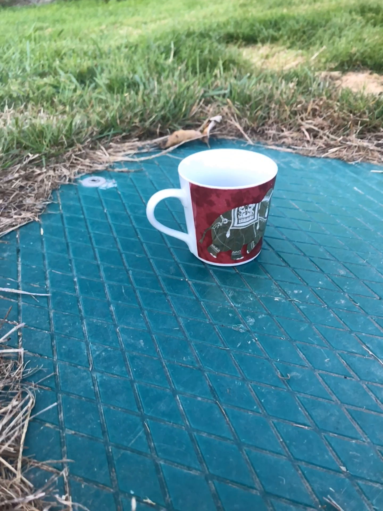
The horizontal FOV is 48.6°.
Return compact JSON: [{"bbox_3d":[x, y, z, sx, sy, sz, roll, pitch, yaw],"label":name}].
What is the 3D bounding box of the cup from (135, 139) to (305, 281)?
[{"bbox_3d":[0.020,-0.042,0.350,0.110,0.070,0.082,-12,34,-16],"label":"cup"}]
